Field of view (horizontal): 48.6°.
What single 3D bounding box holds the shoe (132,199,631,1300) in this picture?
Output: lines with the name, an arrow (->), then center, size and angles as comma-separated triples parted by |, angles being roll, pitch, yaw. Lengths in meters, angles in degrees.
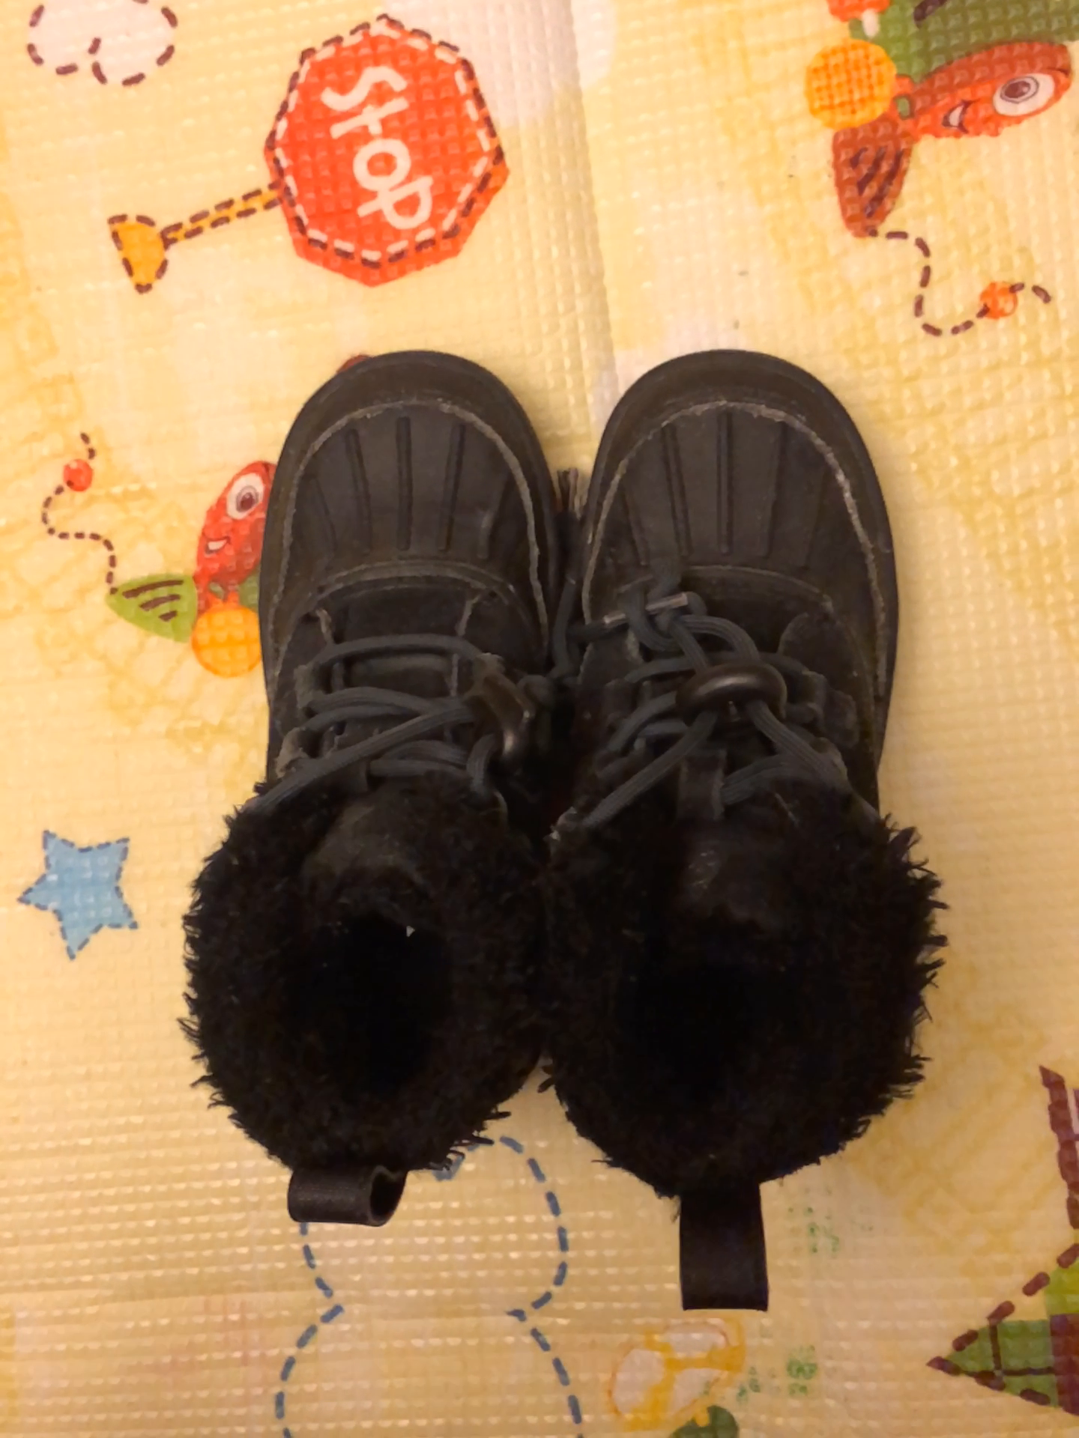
shoe -> -0.027, 0.007, 0.293 | 0.090, 0.120, 0.210 | -1, 90, 6

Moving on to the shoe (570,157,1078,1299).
shoe -> 0.061, 0.000, 0.290 | 0.090, 0.110, 0.220 | 2, 90, 6
